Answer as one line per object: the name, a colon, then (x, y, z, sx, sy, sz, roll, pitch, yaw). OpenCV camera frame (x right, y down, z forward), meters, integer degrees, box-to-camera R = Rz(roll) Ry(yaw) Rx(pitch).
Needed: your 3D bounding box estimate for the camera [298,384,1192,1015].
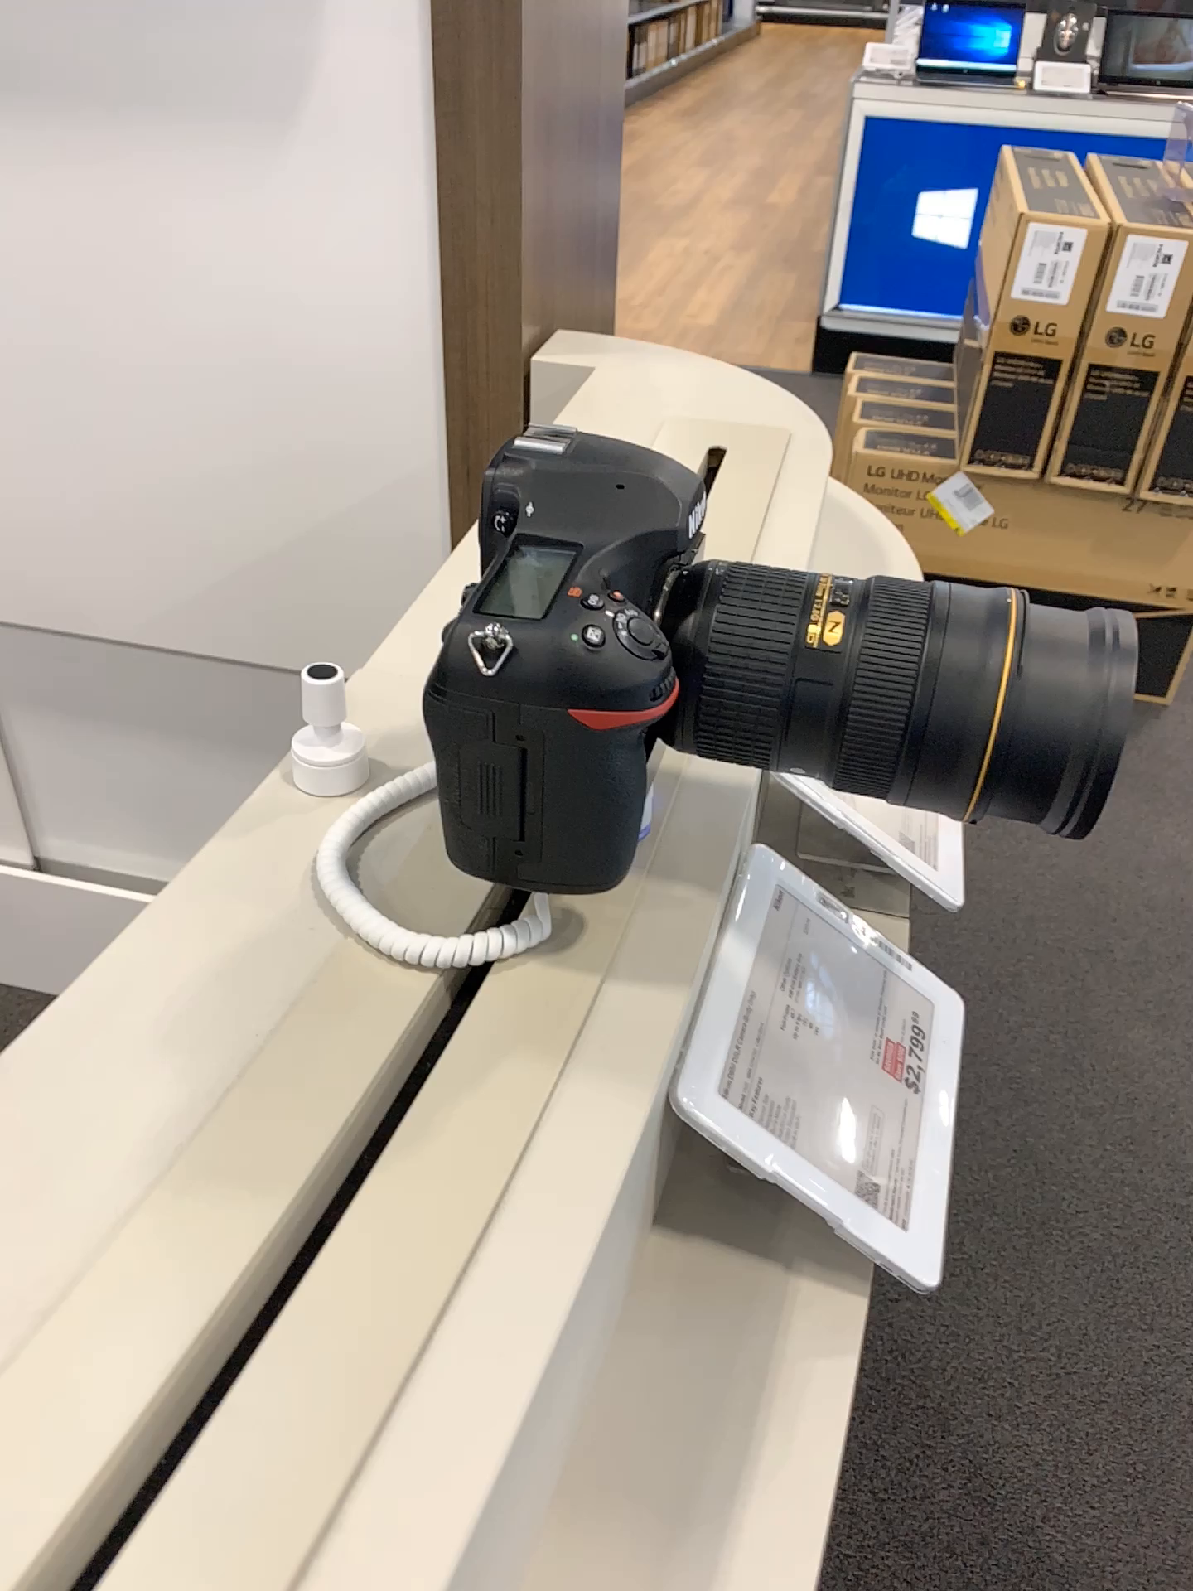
camera: (0.051, -0.045, 0.410, 0.240, 0.109, 0.161, 10, 36, 9)
